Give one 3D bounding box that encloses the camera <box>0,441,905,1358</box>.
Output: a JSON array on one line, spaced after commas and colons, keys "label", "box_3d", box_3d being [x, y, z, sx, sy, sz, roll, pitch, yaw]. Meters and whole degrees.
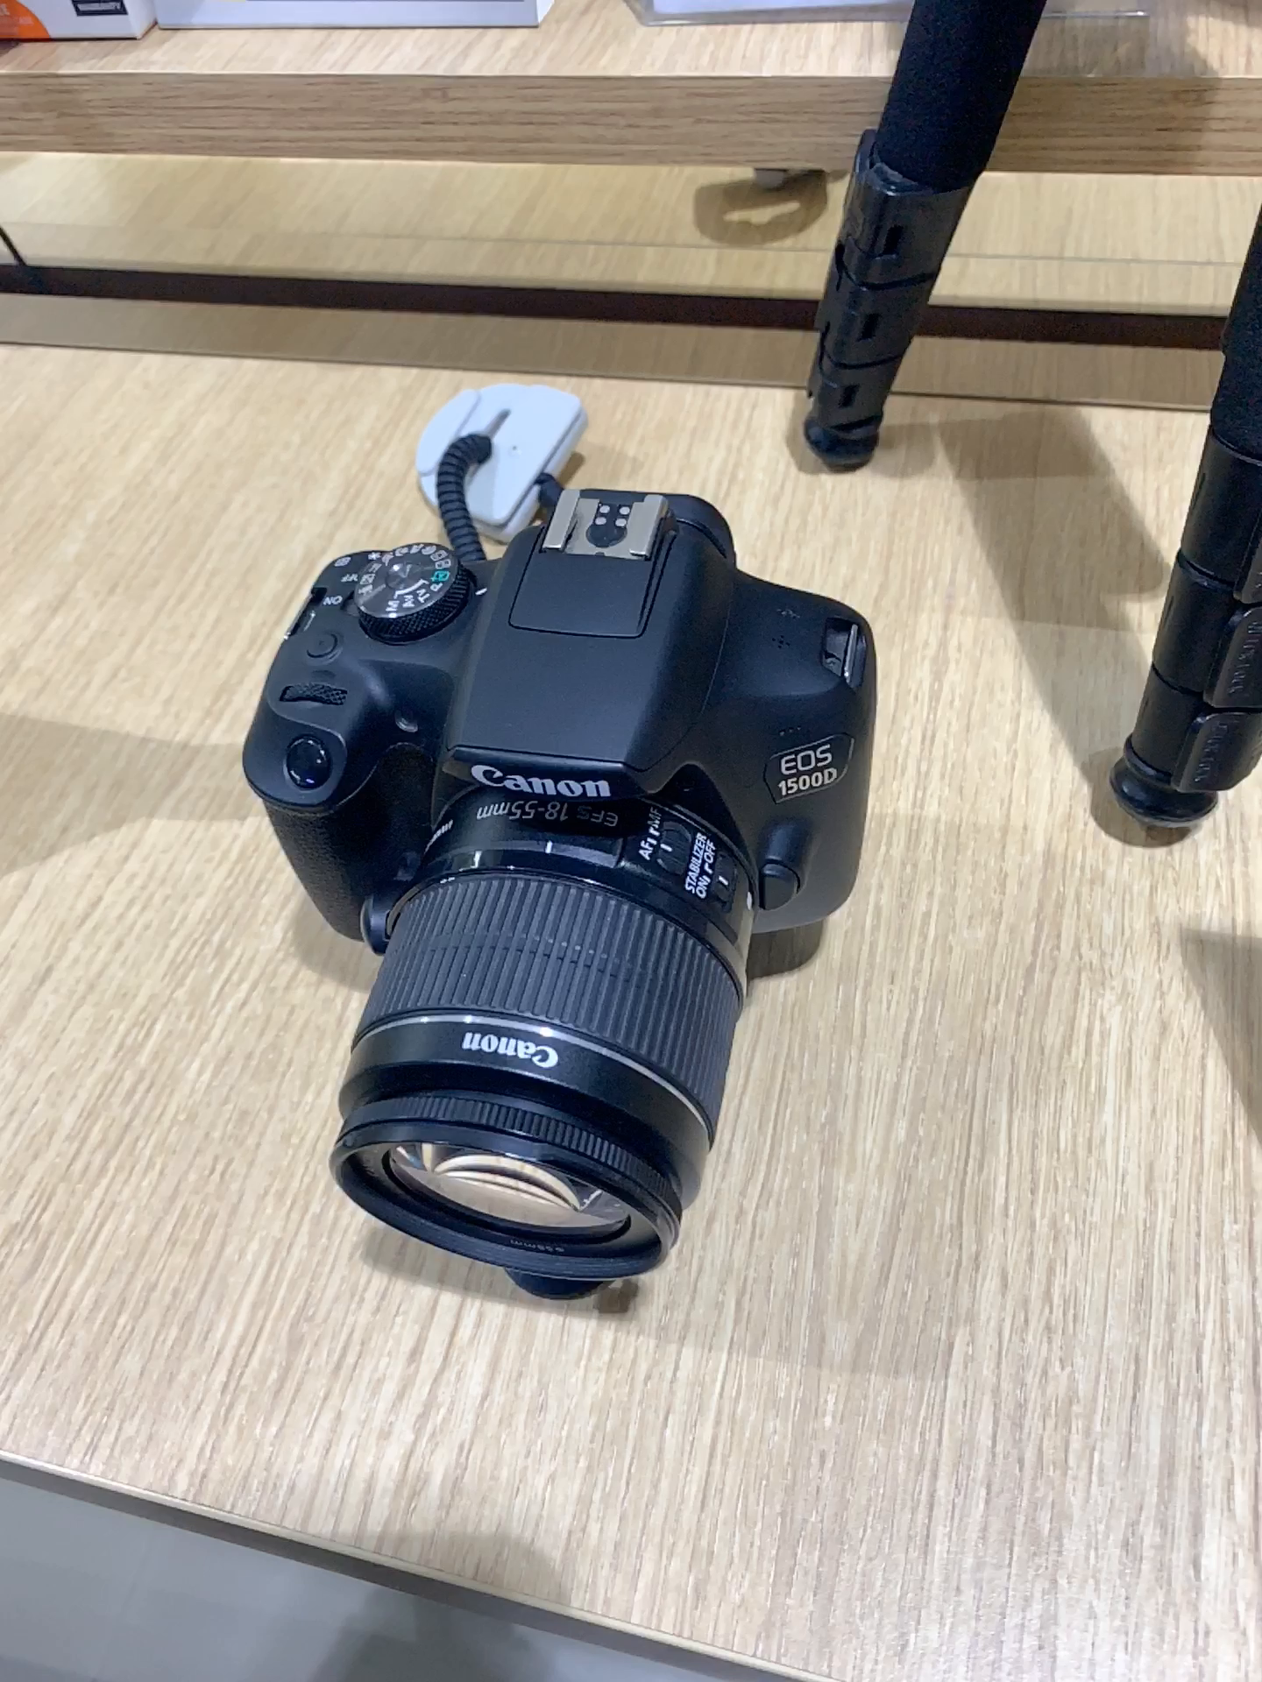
[{"label": "camera", "box_3d": [-0.017, 0.004, 0.253, 0.121, 0.088, 0.140, 6, 53, 12]}]
